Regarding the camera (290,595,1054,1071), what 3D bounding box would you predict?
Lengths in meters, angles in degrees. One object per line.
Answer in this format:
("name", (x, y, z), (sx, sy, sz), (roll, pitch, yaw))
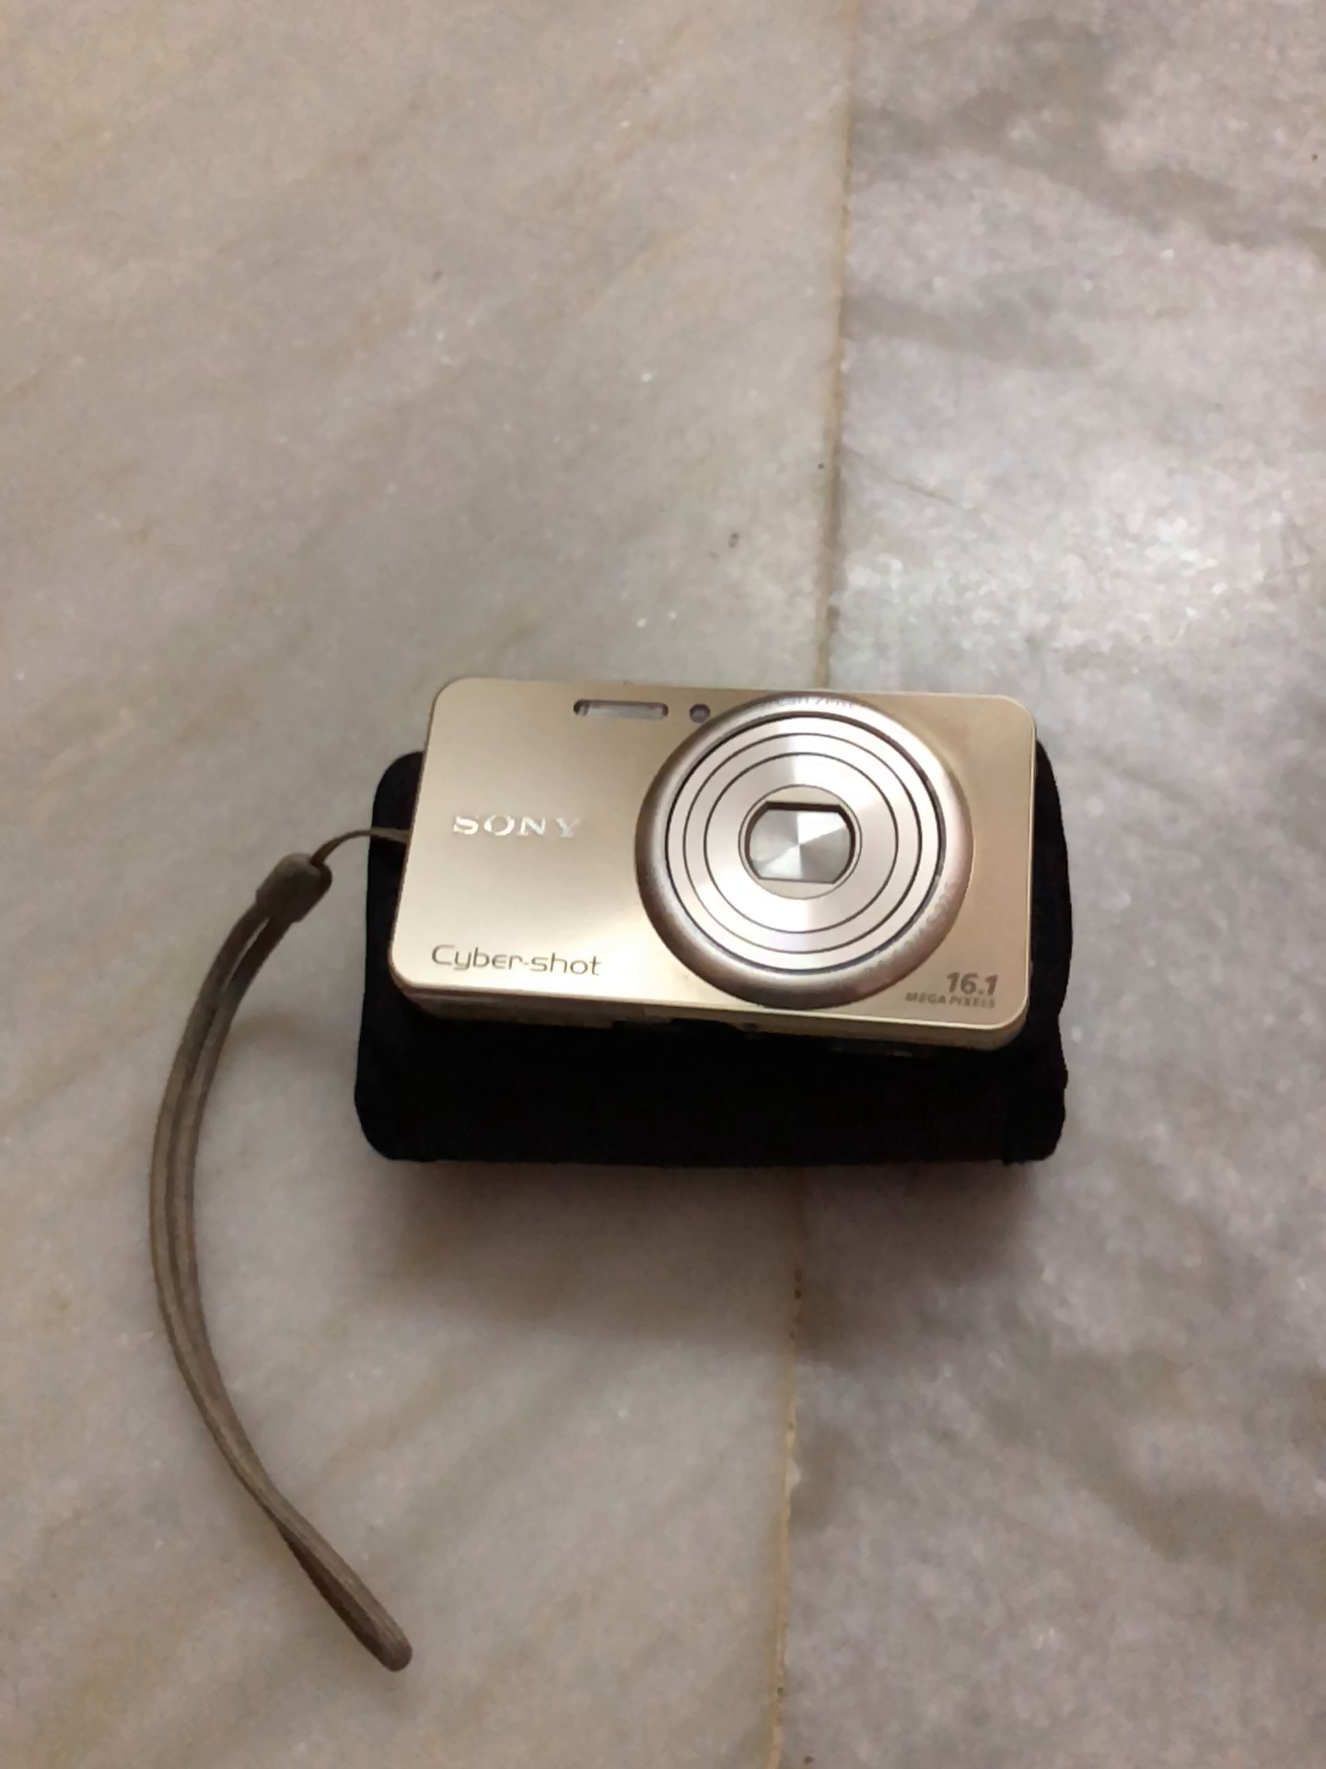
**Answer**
("camera", (0.003, -0.009, 0.213), (0.100, 0.020, 0.060), (3, 69, 7))
